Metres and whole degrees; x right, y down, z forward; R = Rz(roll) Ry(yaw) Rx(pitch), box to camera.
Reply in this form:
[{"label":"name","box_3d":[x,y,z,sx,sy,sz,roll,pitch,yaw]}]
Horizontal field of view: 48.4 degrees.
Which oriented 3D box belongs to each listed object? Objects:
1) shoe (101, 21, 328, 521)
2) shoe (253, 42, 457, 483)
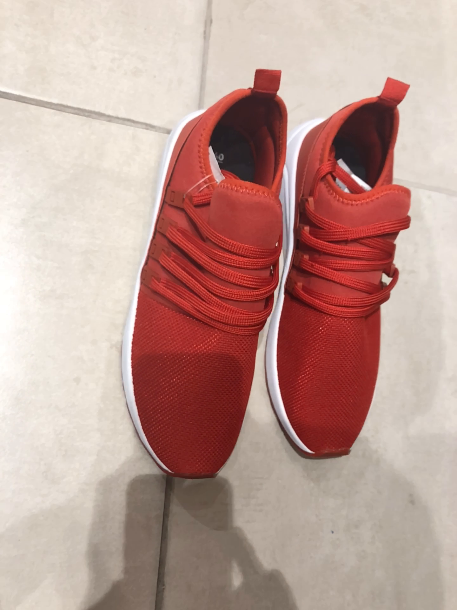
[{"label":"shoe","box_3d":[-0.016,-0.014,0.349,0.100,0.140,0.270,7,81,-17]},{"label":"shoe","box_3d":[0.090,-0.022,0.387,0.100,0.140,0.270,3,82,-18]}]
